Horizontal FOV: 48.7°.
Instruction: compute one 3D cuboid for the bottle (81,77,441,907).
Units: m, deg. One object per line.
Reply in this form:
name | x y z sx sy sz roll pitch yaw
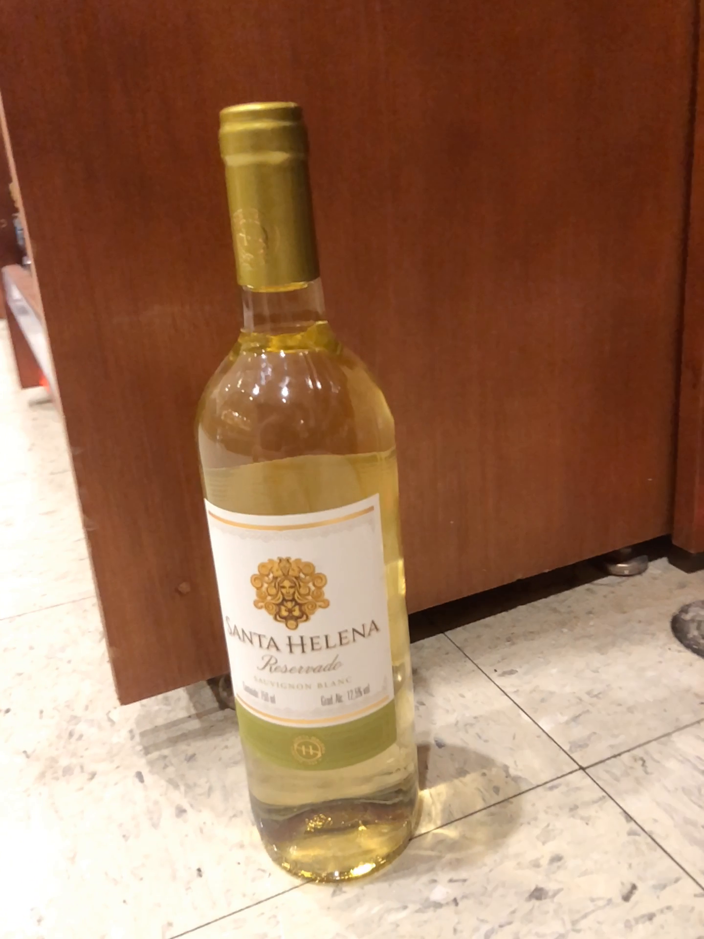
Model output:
bottle | -0.017 0.020 0.283 0.080 0.278 0.070 -1 20 12
